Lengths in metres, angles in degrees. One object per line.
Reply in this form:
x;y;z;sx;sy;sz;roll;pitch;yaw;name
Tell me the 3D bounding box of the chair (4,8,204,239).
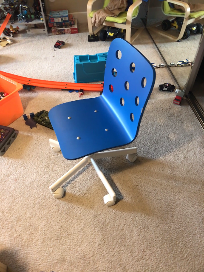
0.018;-0.032;1.096;0.671;0.814;0.623;-15;52;-11;chair
